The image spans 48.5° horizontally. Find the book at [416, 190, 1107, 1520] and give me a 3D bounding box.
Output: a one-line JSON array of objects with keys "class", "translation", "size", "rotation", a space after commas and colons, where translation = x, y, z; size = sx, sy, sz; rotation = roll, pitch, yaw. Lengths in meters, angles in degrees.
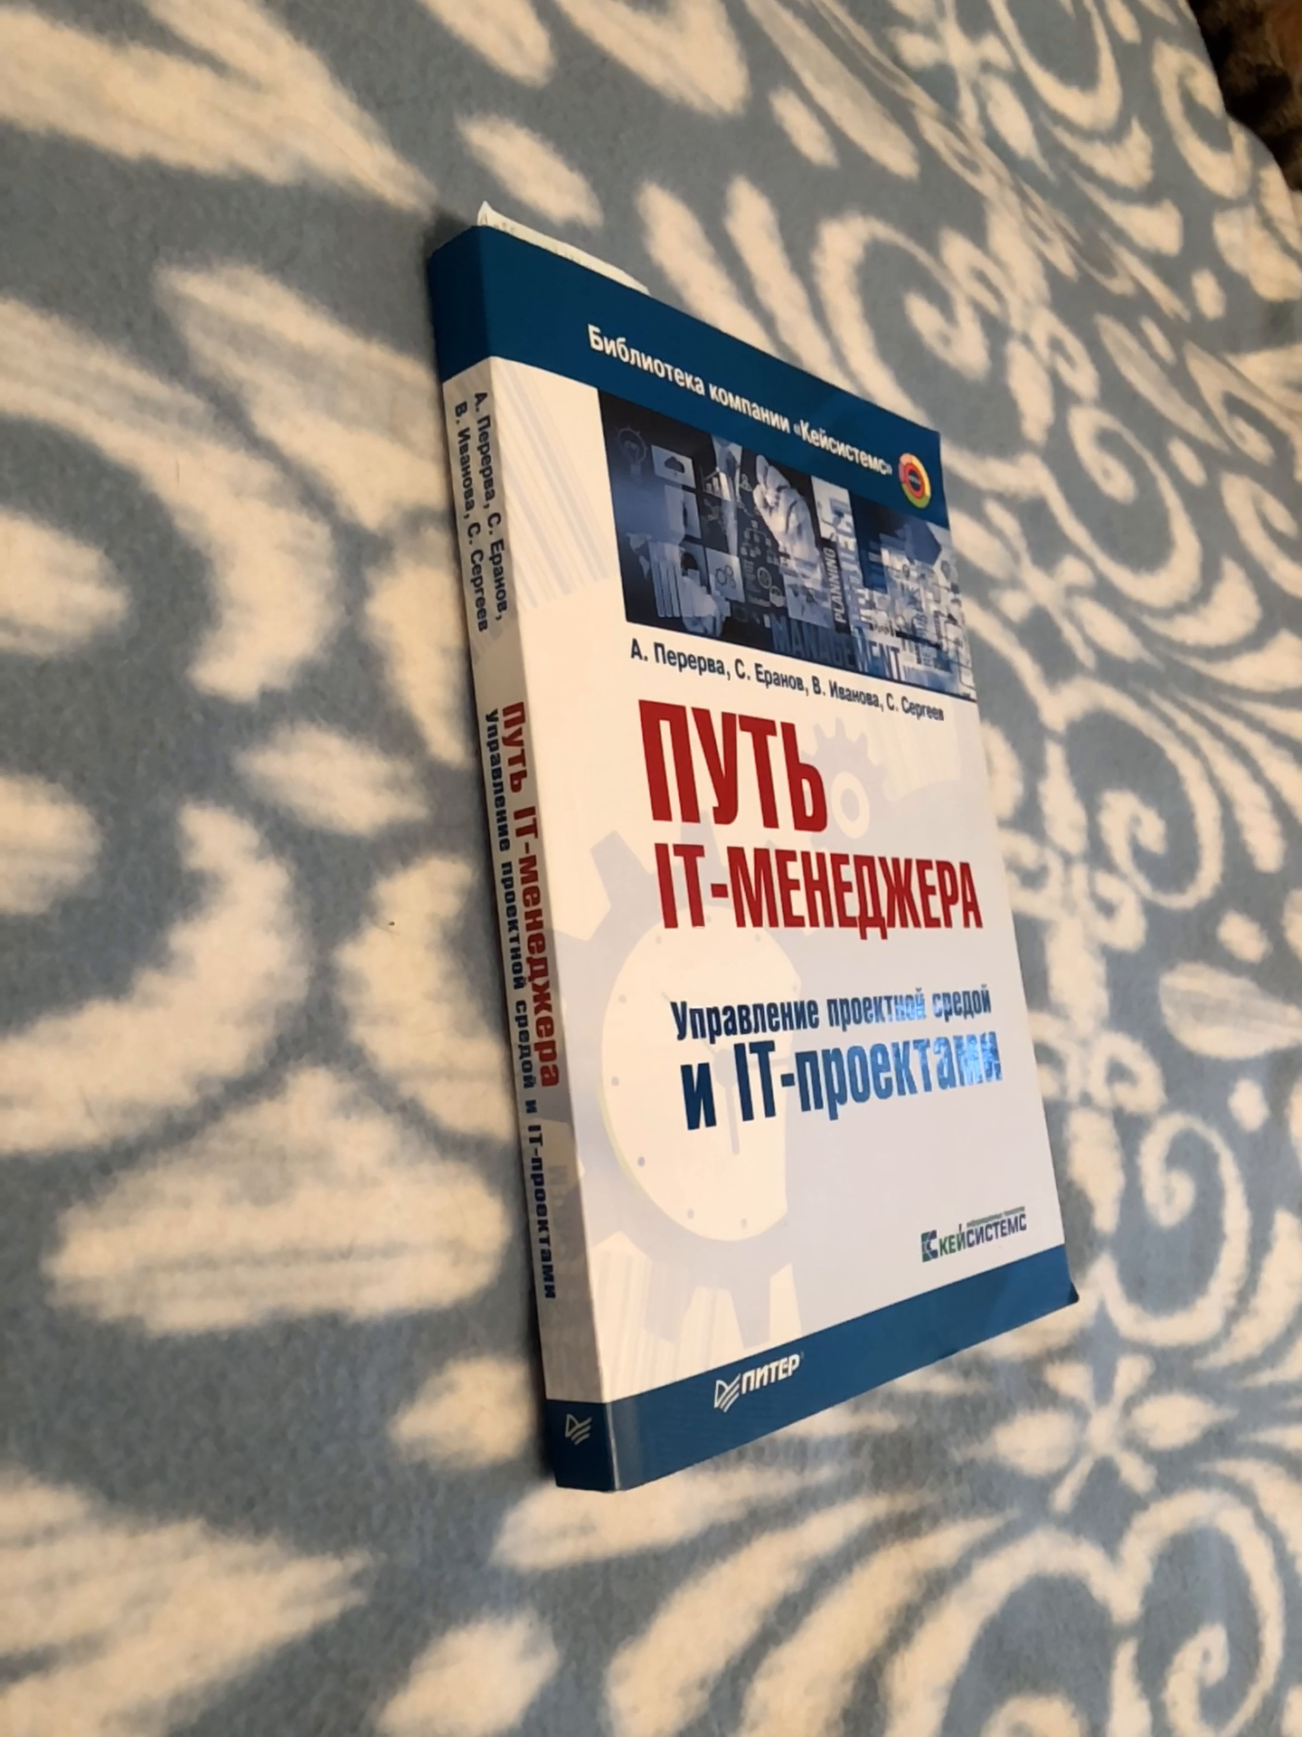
[{"class": "book", "translation": [0.034, -0.006, 0.313], "size": [0.173, 0.019, 0.228], "rotation": [2, 78, -47]}]
